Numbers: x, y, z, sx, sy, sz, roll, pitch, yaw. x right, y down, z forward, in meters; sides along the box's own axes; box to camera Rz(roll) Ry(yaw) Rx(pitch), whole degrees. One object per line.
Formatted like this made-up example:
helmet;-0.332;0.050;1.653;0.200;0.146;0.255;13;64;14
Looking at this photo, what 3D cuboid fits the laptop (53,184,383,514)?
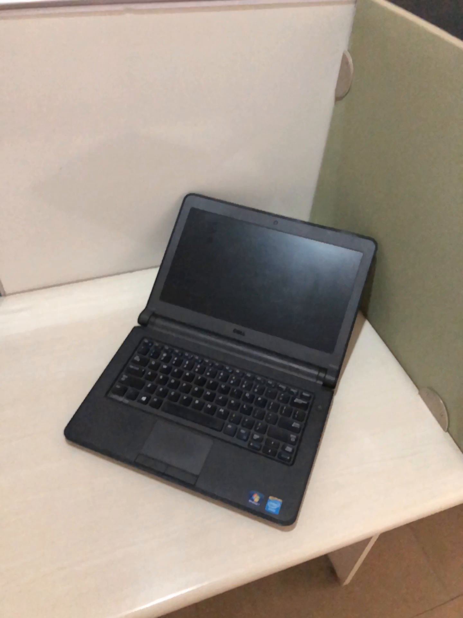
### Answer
laptop;0.006;0.018;0.722;0.309;0.128;0.396;17;50;14
